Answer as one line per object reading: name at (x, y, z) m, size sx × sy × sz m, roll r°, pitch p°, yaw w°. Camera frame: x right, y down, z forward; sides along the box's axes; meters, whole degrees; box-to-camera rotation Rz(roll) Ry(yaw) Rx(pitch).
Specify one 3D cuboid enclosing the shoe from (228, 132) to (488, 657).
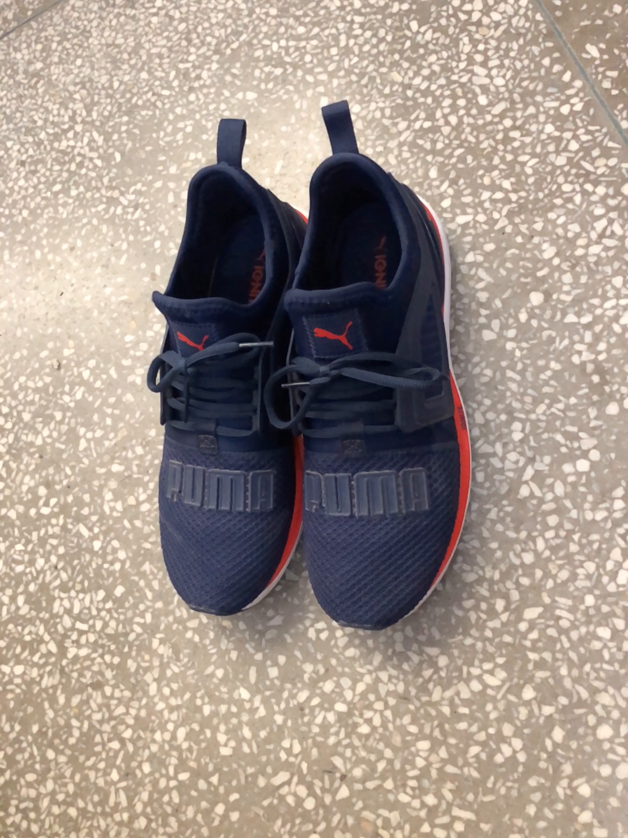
shoe at (0.037, -0.010, 0.400) m, size 0.107 × 0.113 × 0.257 m, roll 2°, pitch 78°, yaw 18°

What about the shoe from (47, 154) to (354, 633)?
shoe at (-0.057, -0.013, 0.431) m, size 0.107 × 0.113 × 0.257 m, roll 5°, pitch 79°, yaw 18°
